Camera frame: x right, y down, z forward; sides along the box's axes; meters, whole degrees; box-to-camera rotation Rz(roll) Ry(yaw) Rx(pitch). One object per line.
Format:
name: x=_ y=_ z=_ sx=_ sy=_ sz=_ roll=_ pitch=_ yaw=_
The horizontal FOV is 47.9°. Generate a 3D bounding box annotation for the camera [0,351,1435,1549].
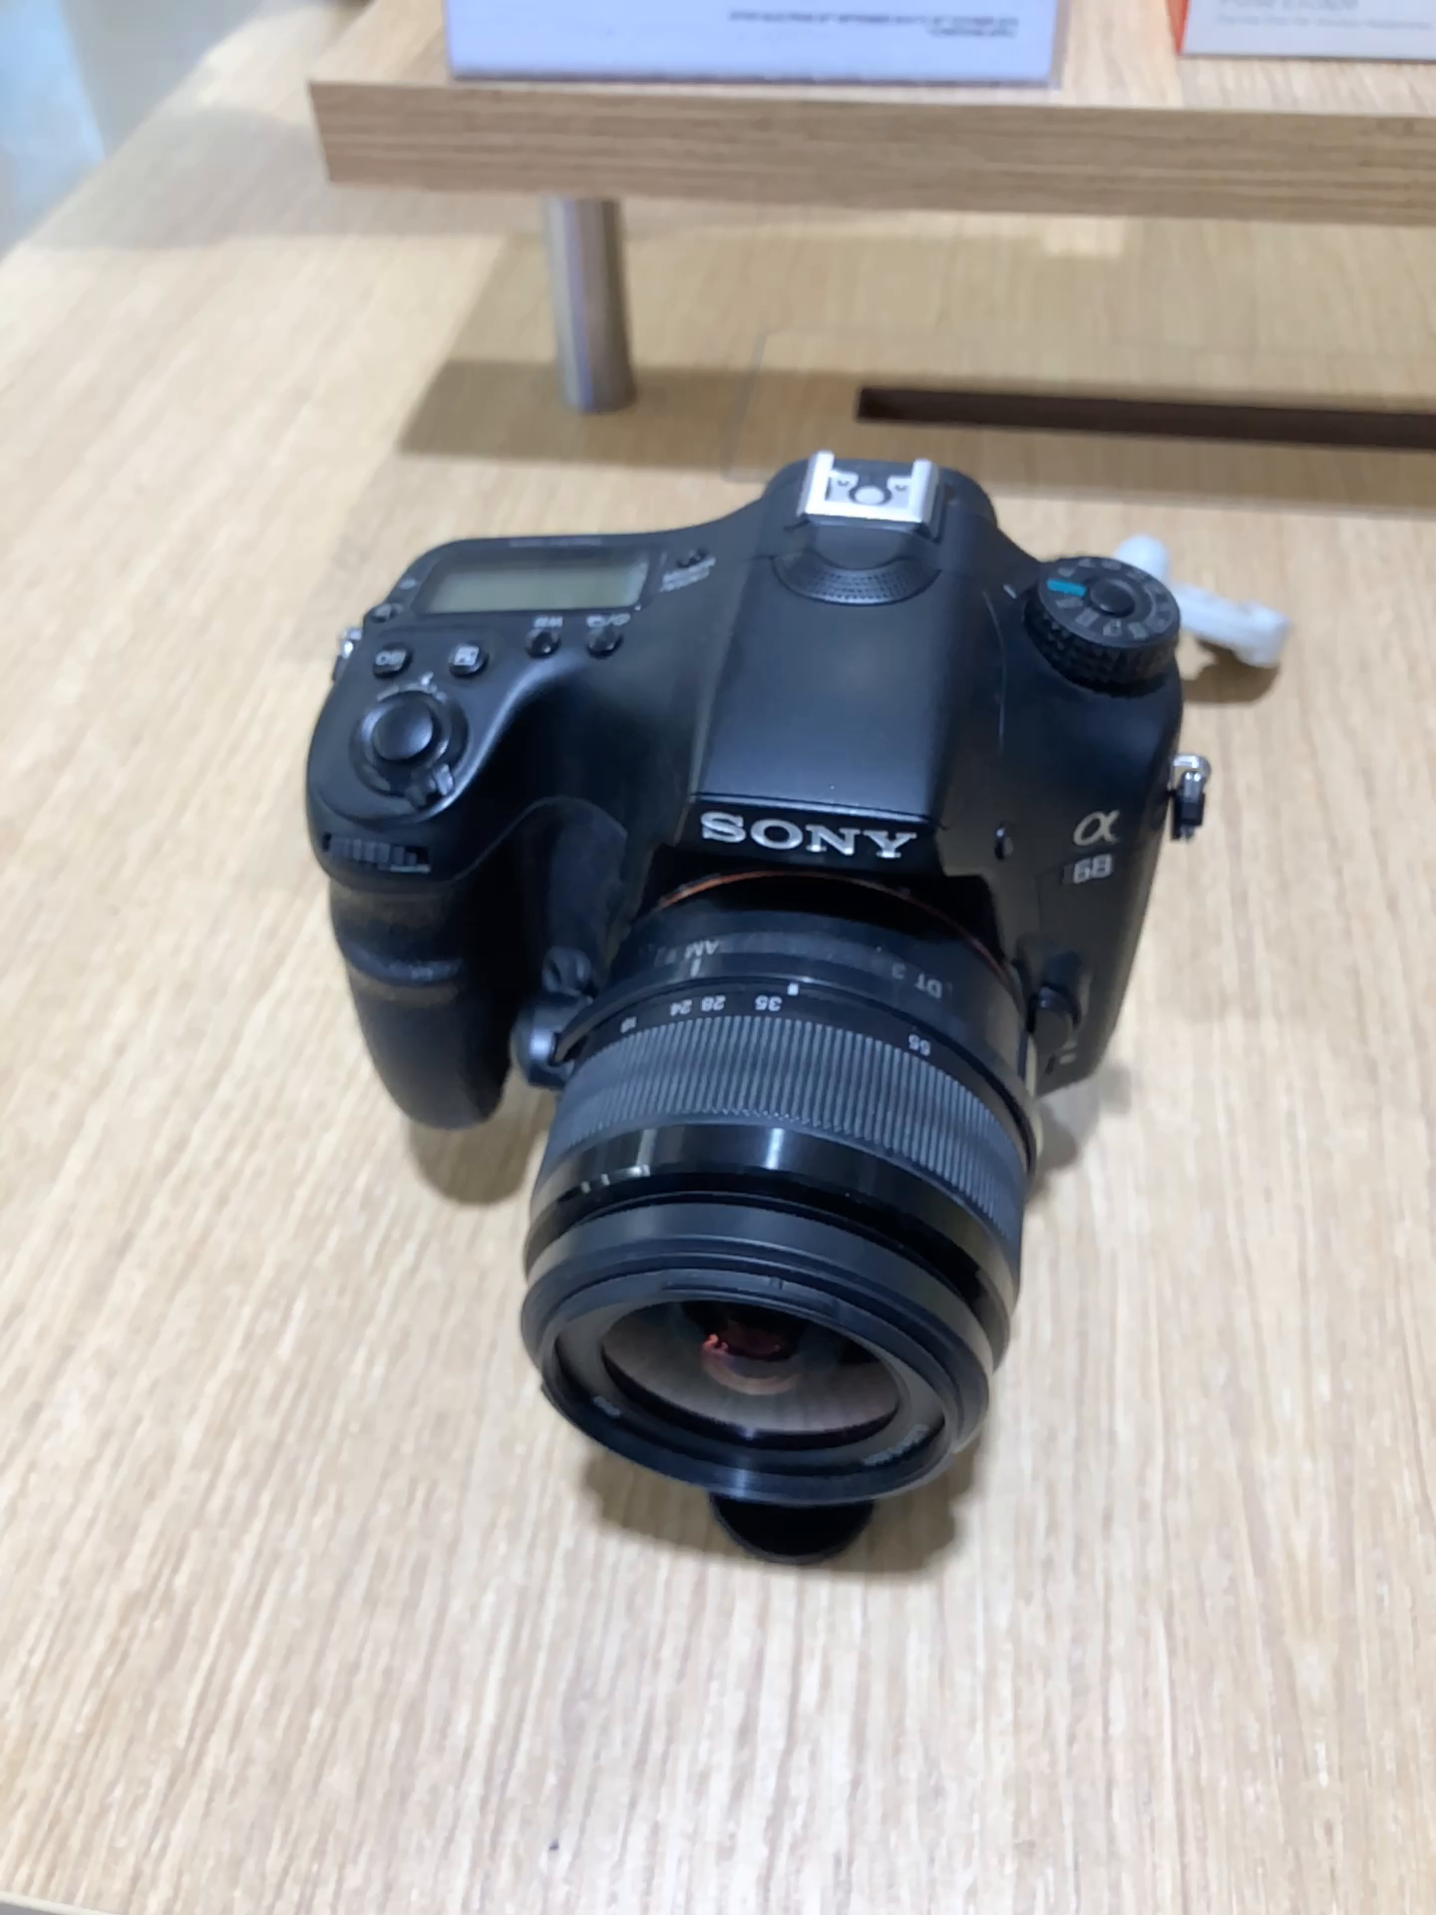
camera: x=0.003 y=-0.010 z=0.216 sx=0.140 sy=0.080 sz=0.131 roll=5 pitch=47 yaw=8
